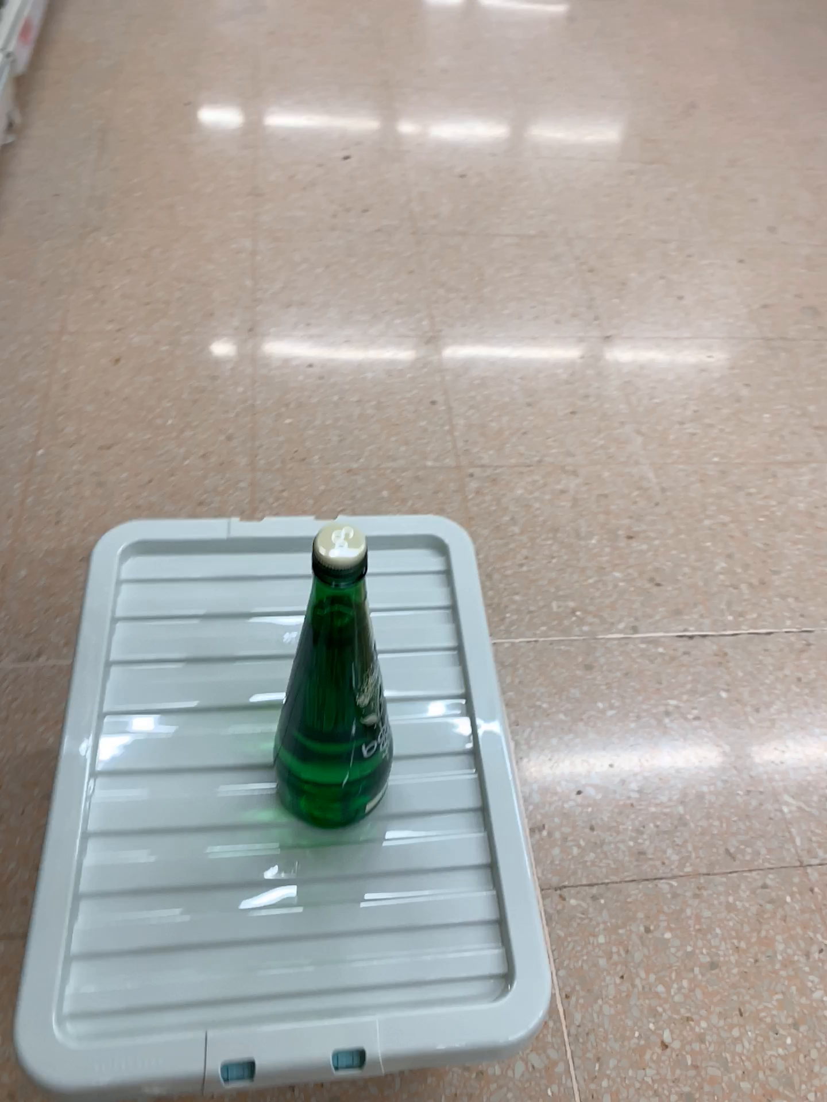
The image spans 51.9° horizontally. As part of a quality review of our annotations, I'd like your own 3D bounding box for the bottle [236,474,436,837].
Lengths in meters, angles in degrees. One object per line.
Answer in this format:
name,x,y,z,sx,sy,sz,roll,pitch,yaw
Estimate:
bottle,-0.050,0.087,0.538,0.093,0.298,0.085,3,52,-5
